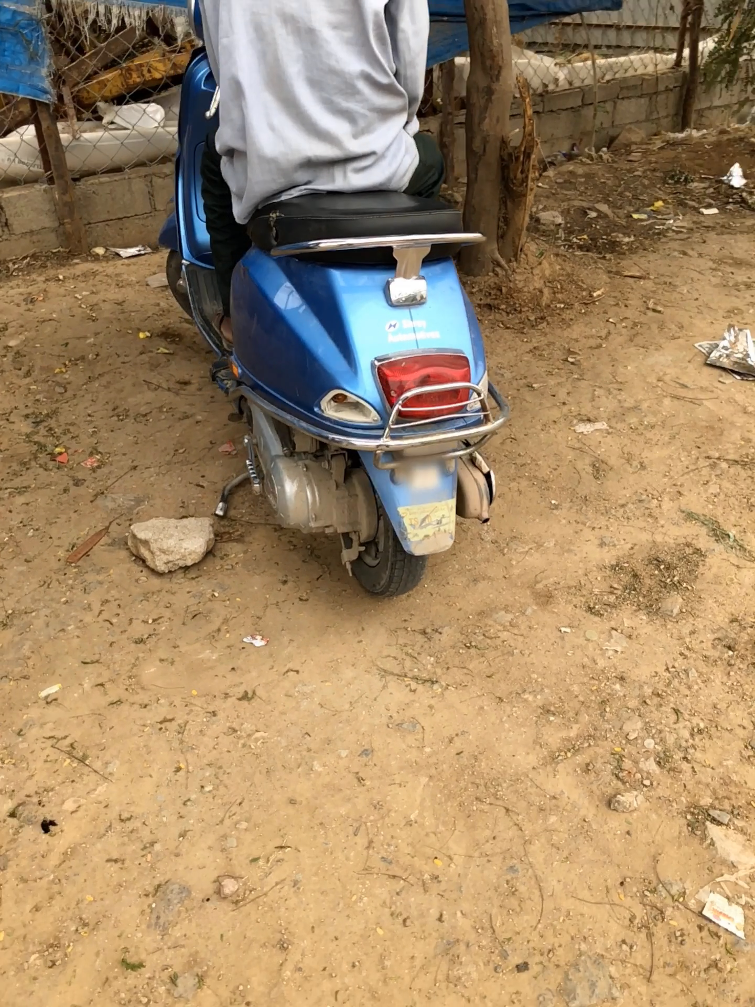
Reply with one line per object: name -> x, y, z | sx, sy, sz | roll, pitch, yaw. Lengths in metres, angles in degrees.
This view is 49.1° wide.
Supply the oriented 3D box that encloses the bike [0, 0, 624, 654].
bike -> -0.295, -0.728, 2.043 | 0.633, 1.253, 1.571 | -17, 41, -24
